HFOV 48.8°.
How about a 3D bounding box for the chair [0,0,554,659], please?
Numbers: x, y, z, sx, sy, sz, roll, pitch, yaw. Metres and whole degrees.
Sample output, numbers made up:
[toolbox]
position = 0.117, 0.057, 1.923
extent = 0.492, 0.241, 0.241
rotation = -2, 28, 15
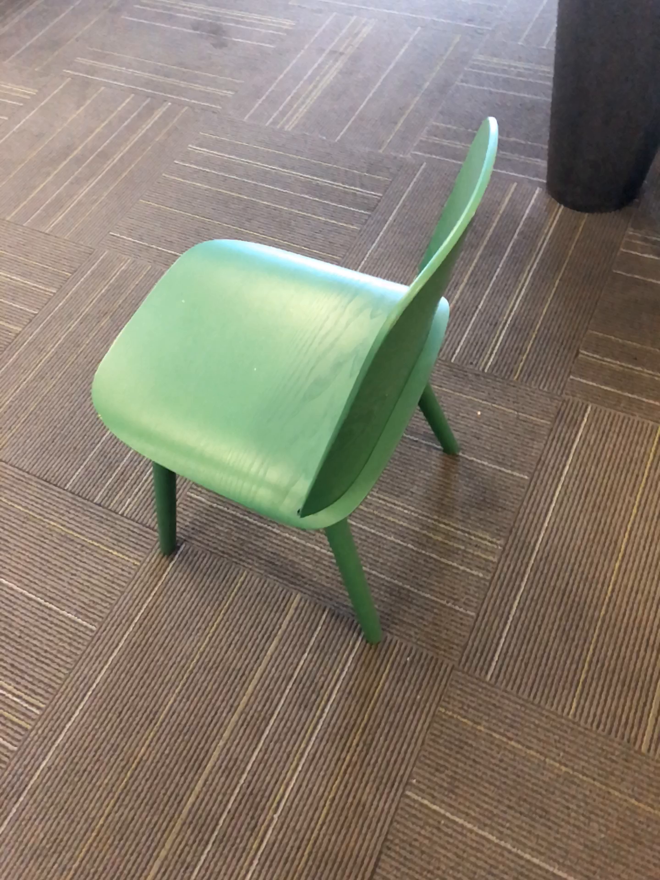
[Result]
[chair]
position = -0.056, -0.133, 1.047
extent = 0.501, 0.778, 0.501
rotation = 18, 60, 17
